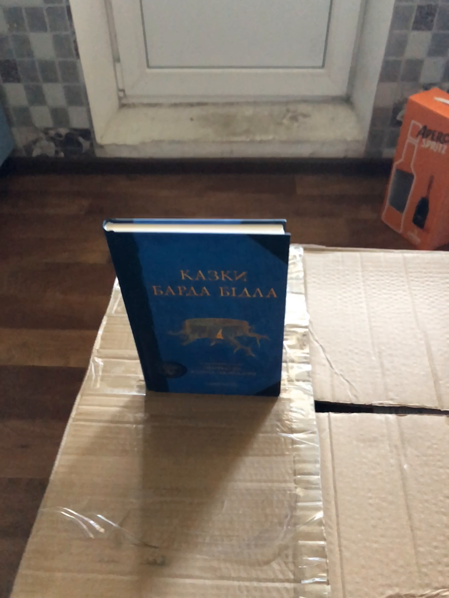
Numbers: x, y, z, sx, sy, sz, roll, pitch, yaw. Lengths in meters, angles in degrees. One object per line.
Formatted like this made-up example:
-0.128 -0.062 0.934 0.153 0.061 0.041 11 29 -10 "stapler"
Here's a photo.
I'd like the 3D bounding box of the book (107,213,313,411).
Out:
-0.009 0.022 0.422 0.144 0.198 0.030 3 44 4 "book"
